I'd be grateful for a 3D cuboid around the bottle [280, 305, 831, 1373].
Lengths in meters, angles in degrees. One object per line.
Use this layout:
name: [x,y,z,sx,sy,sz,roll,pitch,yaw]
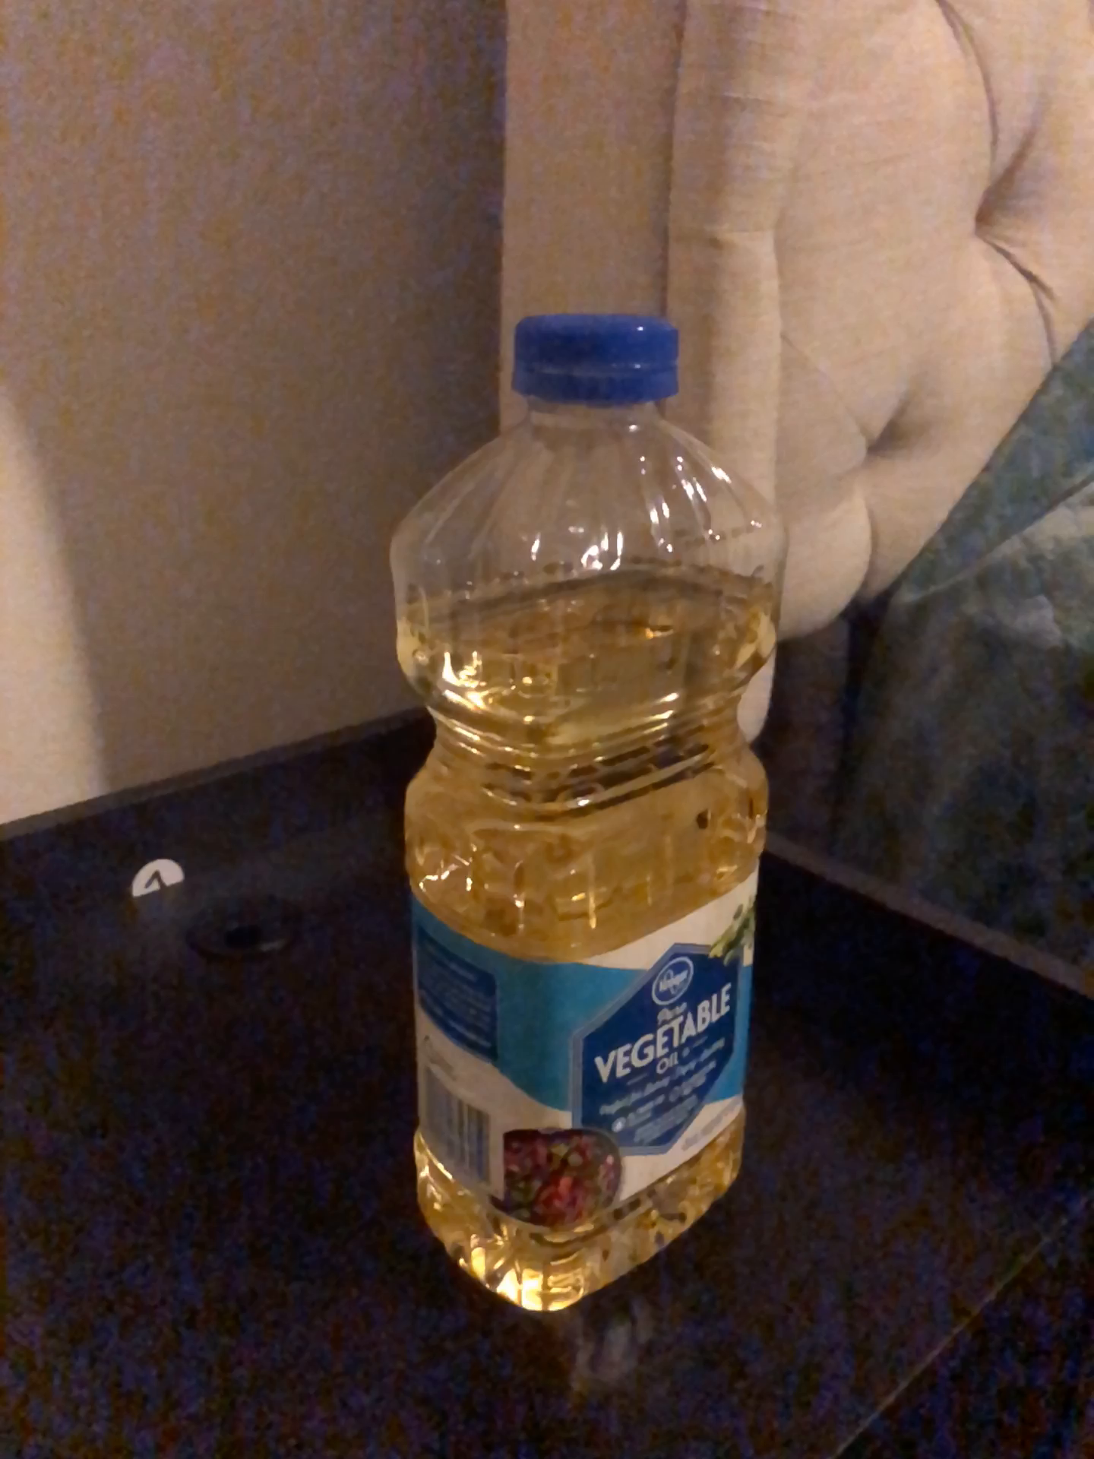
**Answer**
bottle: [0.003,0.026,0.352,0.110,0.276,0.083,-18,28,-39]
